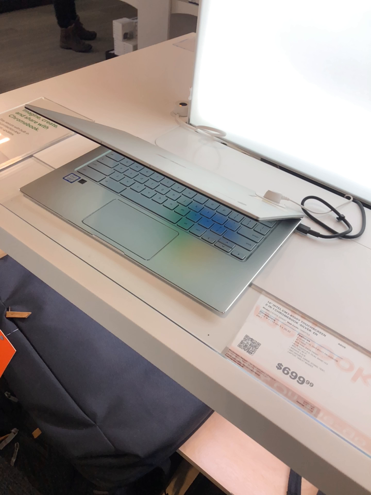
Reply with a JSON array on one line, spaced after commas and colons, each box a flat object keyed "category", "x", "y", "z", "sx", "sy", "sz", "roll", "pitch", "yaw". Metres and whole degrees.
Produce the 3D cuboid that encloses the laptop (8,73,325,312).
[{"category": "laptop", "x": -0.028, "y": -0.093, "z": 0.496, "sx": 0.312, "sy": 0.102, "sz": 0.193, "roll": 29, "pitch": 48, "yaw": 24}]
